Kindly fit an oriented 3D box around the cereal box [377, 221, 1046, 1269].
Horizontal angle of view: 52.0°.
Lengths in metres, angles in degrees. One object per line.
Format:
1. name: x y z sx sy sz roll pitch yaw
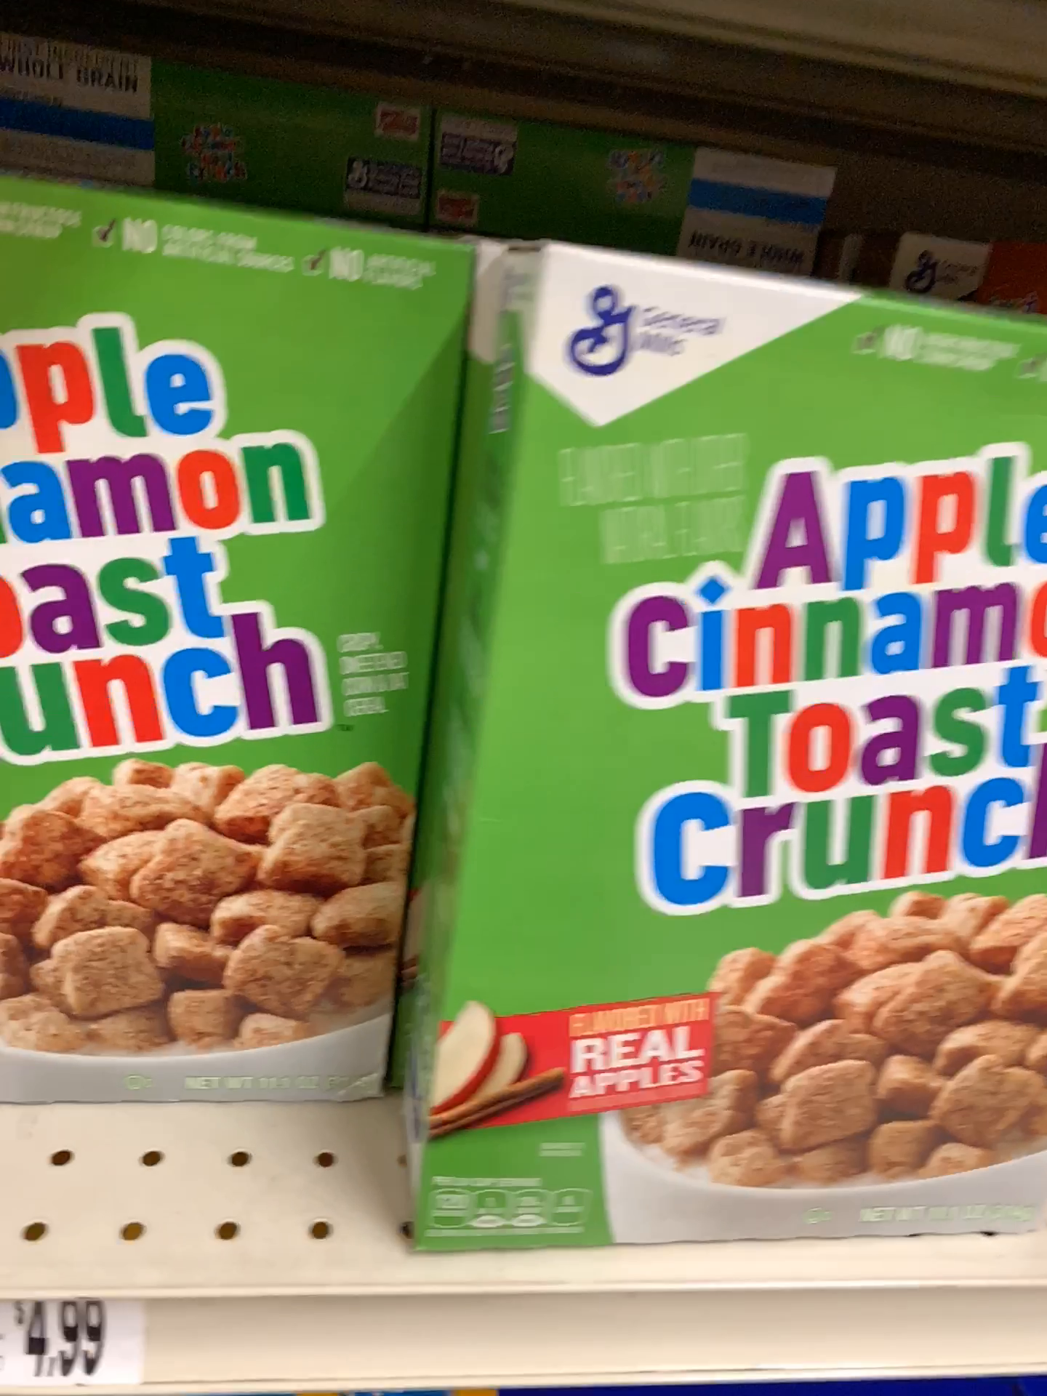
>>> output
1. cereal box: 0.080 0.032 0.297 0.210 0.269 0.060 4 23 -13
